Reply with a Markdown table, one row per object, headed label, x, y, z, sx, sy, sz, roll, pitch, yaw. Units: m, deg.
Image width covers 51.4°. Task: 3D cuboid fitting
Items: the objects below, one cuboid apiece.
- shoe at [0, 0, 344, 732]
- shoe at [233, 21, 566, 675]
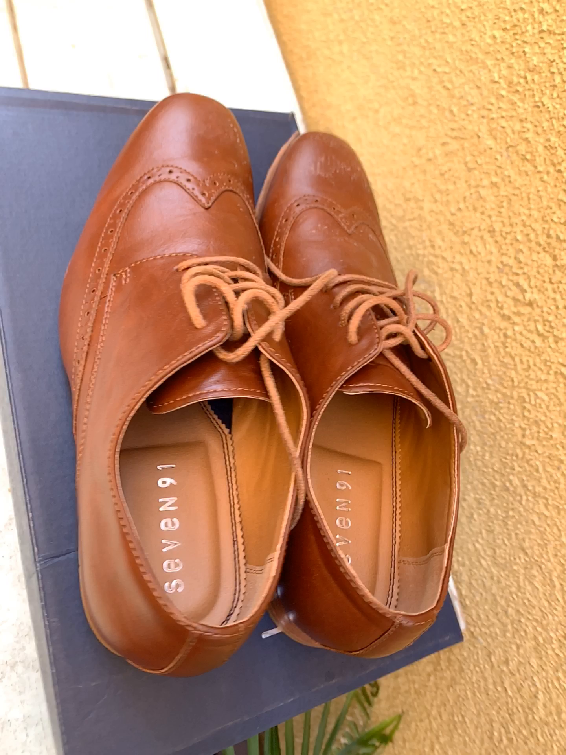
| label | x | y | z | sx | sy | sz | roll | pitch | yaw |
| --- | --- | --- | --- | --- | --- | --- | --- | --- | --- |
| shoe | -0.051 | -0.025 | 0.271 | 0.104 | 0.099 | 0.301 | 8 | 67 | -23 |
| shoe | 0.043 | -0.019 | 0.313 | 0.110 | 0.099 | 0.301 | 8 | 67 | -23 |
